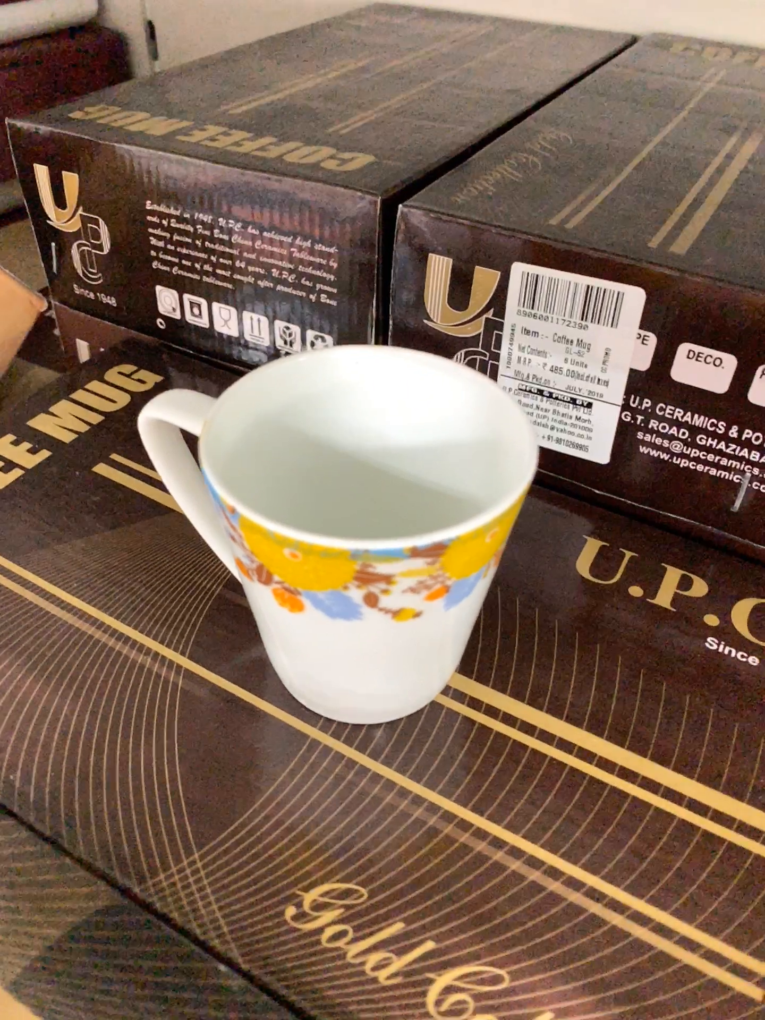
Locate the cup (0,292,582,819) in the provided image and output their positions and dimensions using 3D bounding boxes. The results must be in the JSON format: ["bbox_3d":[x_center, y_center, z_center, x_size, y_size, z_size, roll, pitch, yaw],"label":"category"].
[{"bbox_3d":[-0.017,0.003,0.176,0.092,0.058,0.068,23,46,22],"label":"cup"}]
